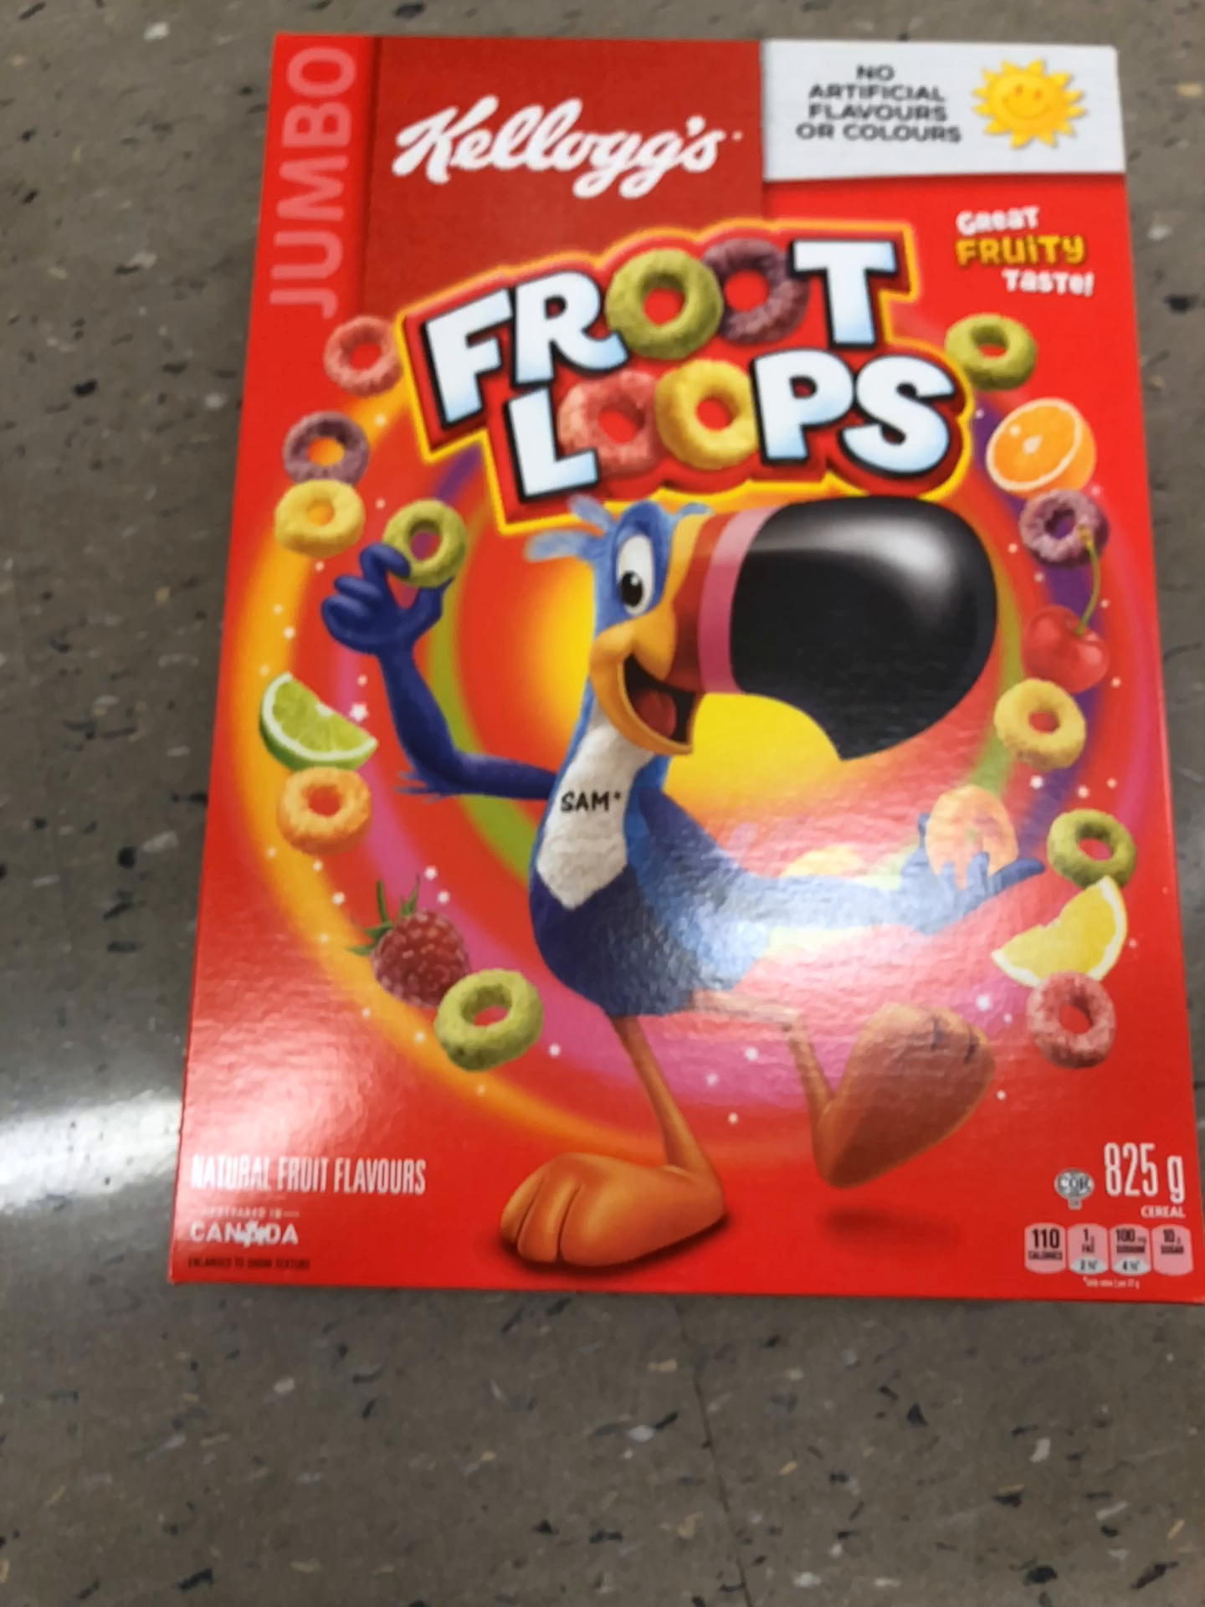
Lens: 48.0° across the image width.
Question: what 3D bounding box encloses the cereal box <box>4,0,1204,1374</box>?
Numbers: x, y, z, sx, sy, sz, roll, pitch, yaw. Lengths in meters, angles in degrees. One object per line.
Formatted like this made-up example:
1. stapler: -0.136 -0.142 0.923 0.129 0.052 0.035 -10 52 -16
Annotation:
1. cereal box: 0.016 -0.051 0.362 0.270 0.080 0.360 1 76 1
